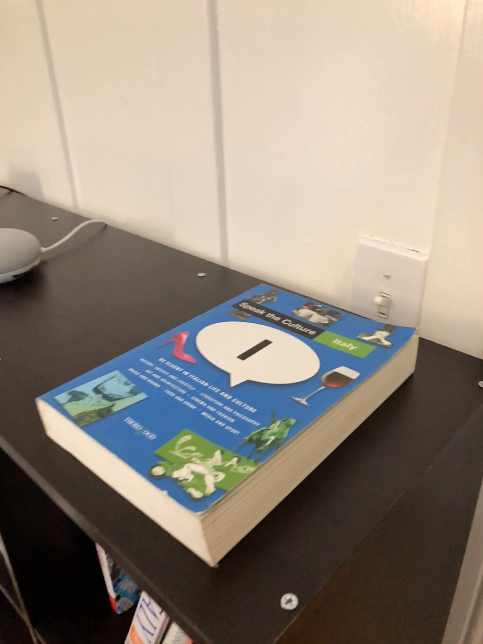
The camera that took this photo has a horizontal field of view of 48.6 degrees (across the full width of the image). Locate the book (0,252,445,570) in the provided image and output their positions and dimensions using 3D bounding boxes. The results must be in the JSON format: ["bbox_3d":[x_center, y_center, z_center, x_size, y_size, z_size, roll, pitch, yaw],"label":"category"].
[{"bbox_3d":[-0.006,0.024,0.387,0.200,0.030,0.261,22,36,36],"label":"book"}]
